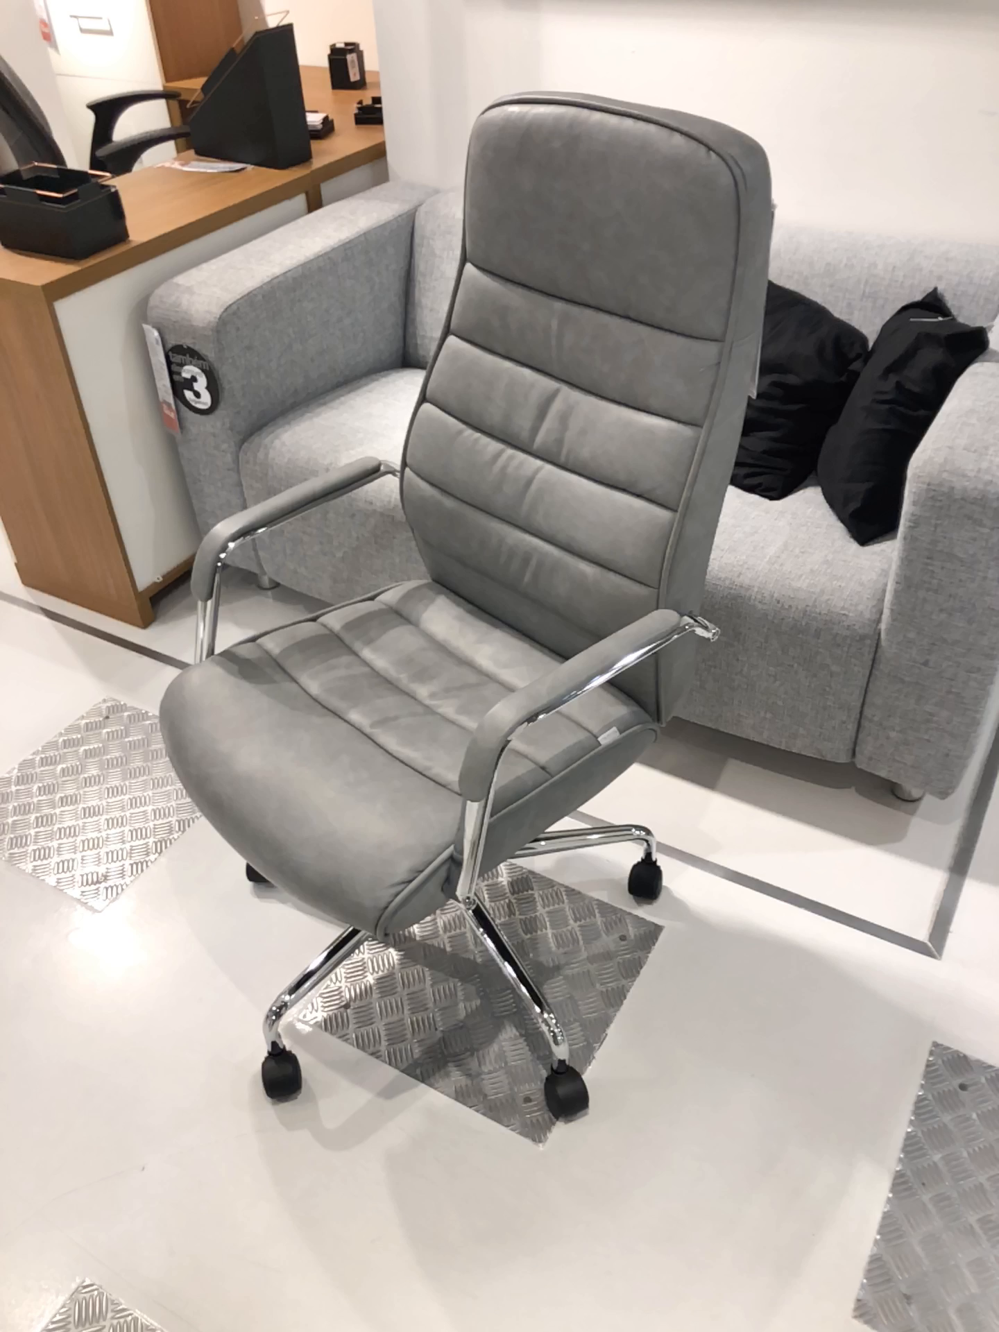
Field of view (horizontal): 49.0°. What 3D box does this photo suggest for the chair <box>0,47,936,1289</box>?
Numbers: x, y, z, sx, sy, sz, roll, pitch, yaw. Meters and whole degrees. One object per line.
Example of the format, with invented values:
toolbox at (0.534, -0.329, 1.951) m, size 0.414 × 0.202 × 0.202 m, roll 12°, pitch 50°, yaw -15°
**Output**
chair at (-0.109, -0.042, 1.294) m, size 0.723 × 1.051 × 0.723 m, roll -32°, pitch 46°, yaw -32°
